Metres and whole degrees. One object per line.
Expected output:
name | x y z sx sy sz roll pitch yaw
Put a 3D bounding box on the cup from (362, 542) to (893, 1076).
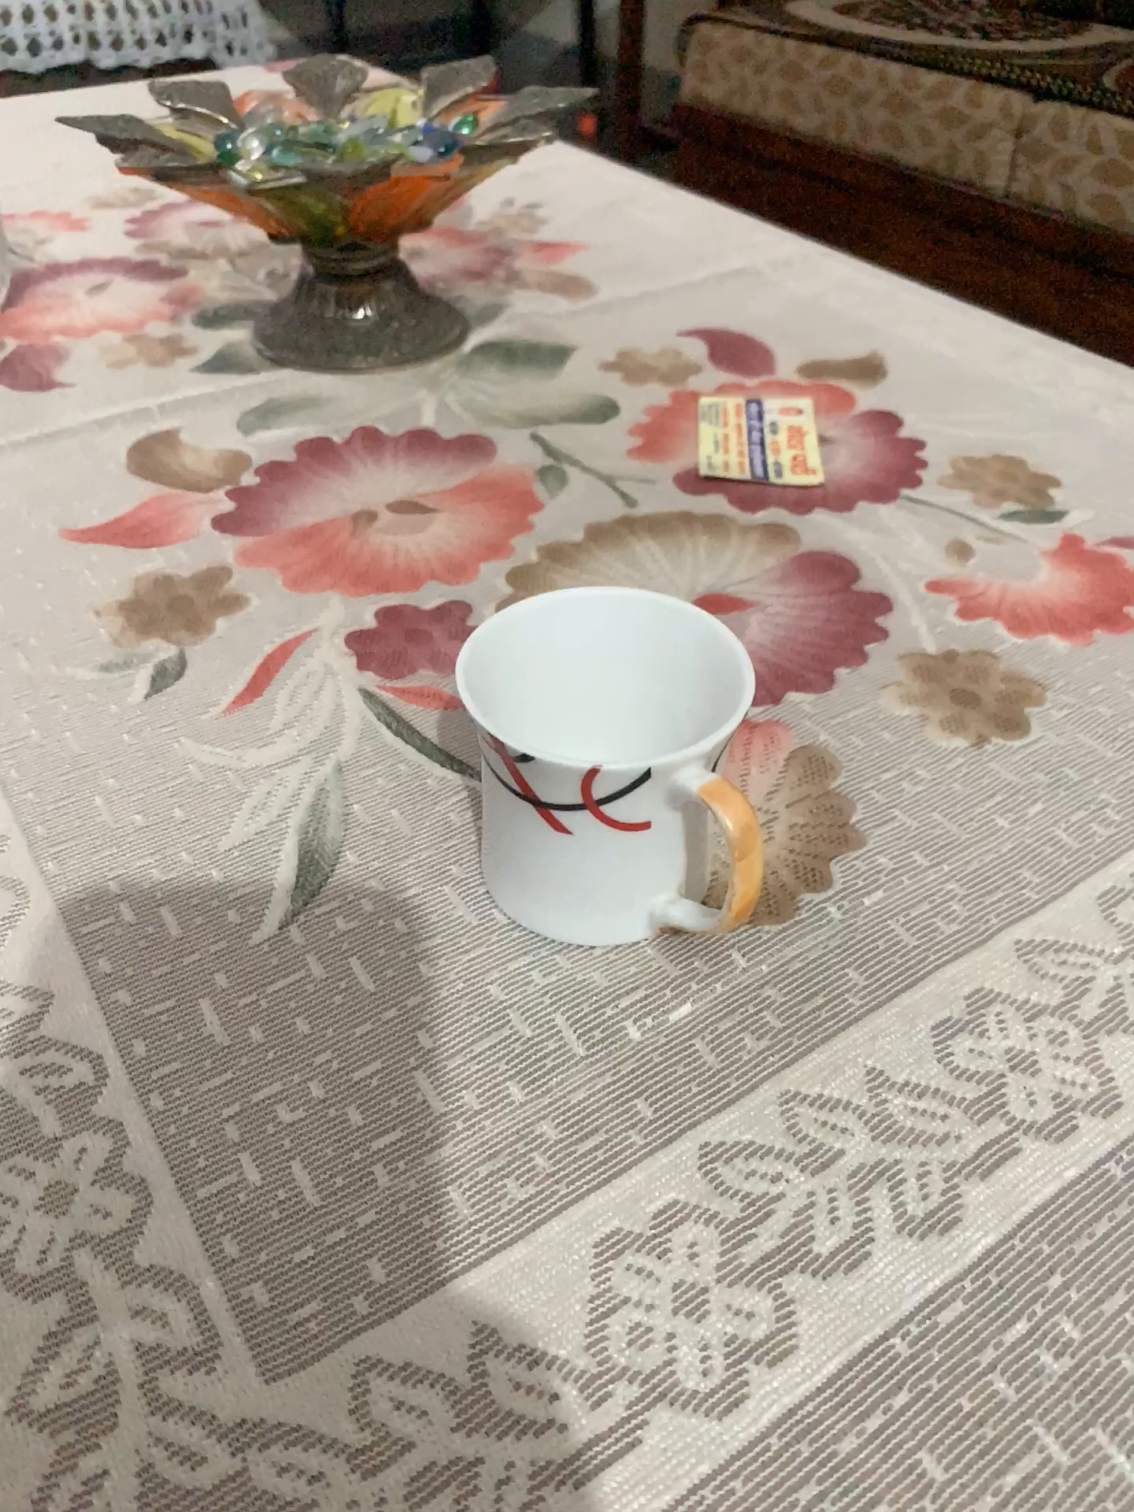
cup | 0.010 0.006 0.268 0.070 0.060 0.090 -27 47 -29
